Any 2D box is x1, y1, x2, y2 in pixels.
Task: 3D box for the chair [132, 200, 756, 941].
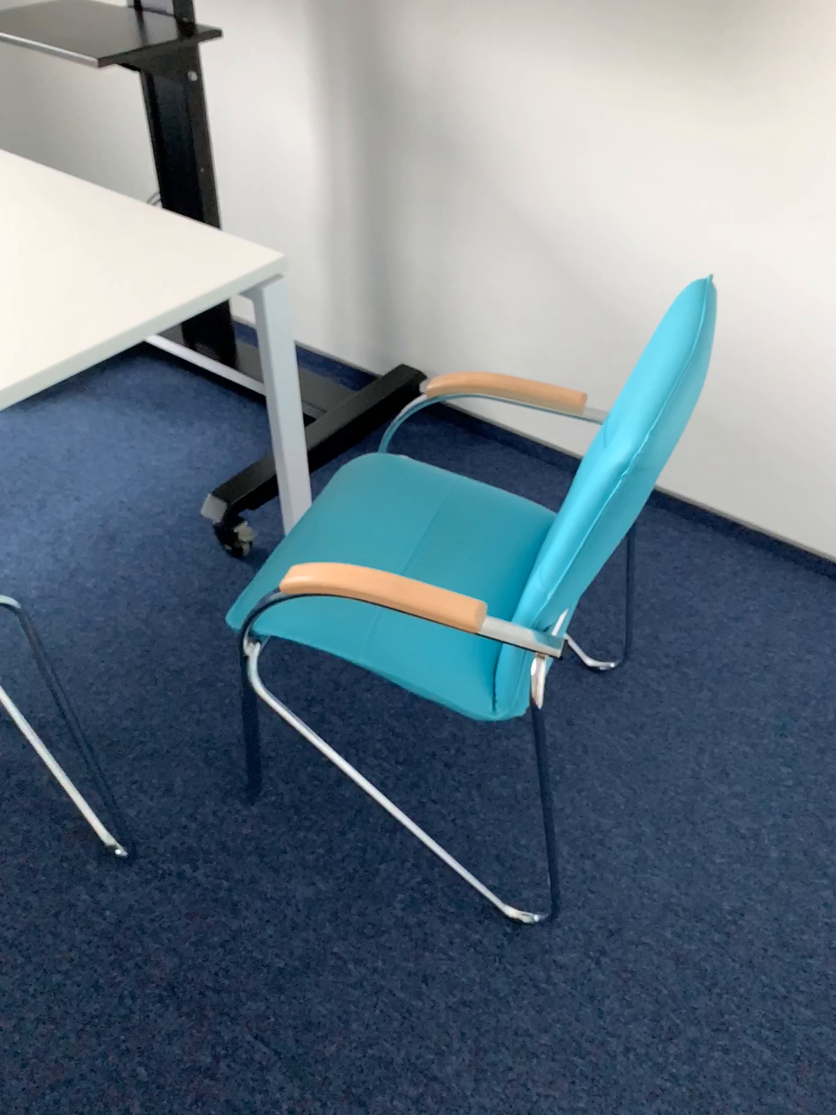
[{"bbox_3d":[0.068,0.018,1.369,0.600,0.846,0.623,17,45,15],"label":"chair"}]
